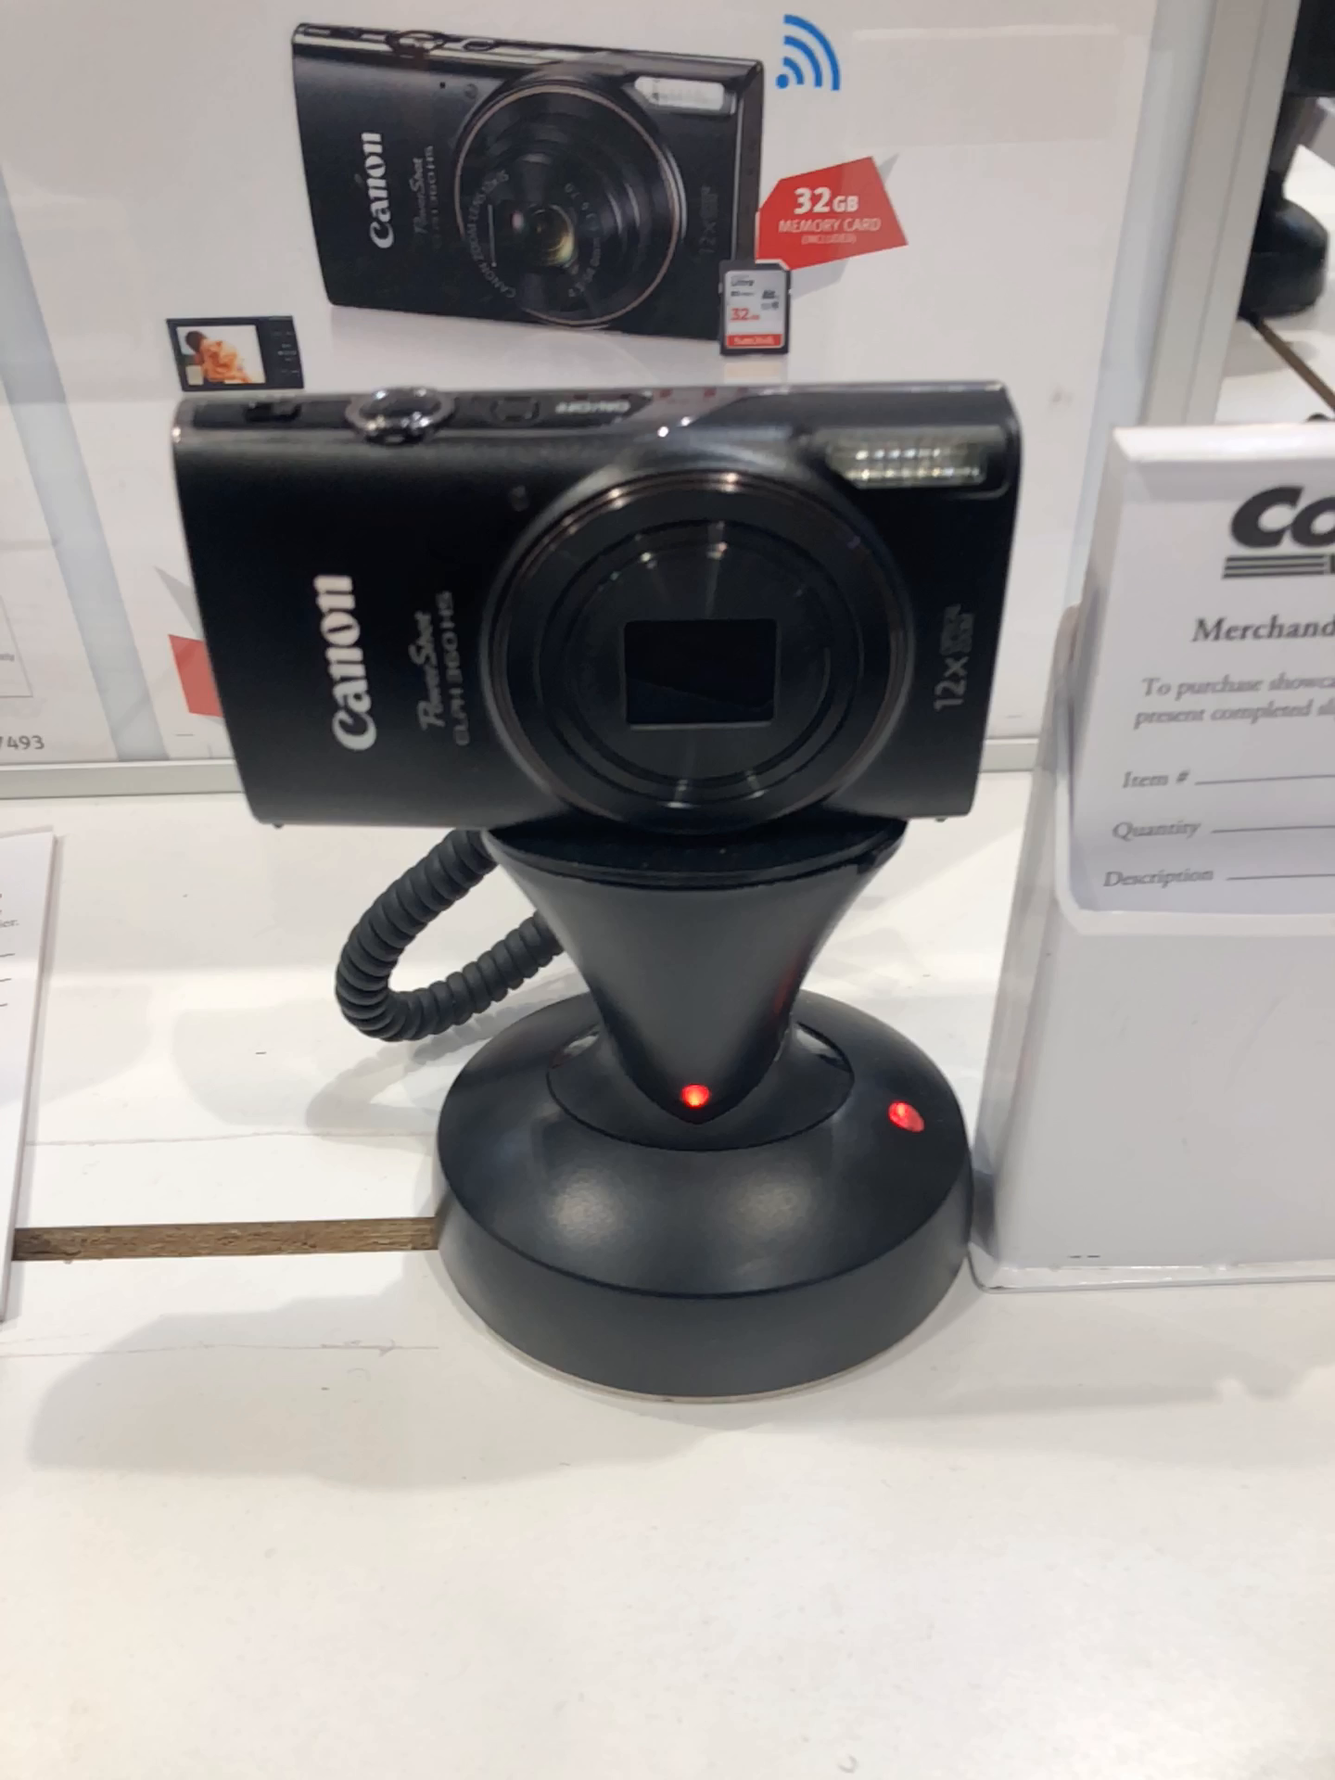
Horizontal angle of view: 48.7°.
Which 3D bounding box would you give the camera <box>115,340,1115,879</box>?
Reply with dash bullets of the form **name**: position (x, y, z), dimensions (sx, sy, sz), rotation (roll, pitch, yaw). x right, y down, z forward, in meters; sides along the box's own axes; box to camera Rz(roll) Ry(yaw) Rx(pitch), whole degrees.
- **camera**: position (-0.005, -0.035, 0.193), dimensions (0.110, 0.060, 0.030), rotation (-1, 39, 1)
